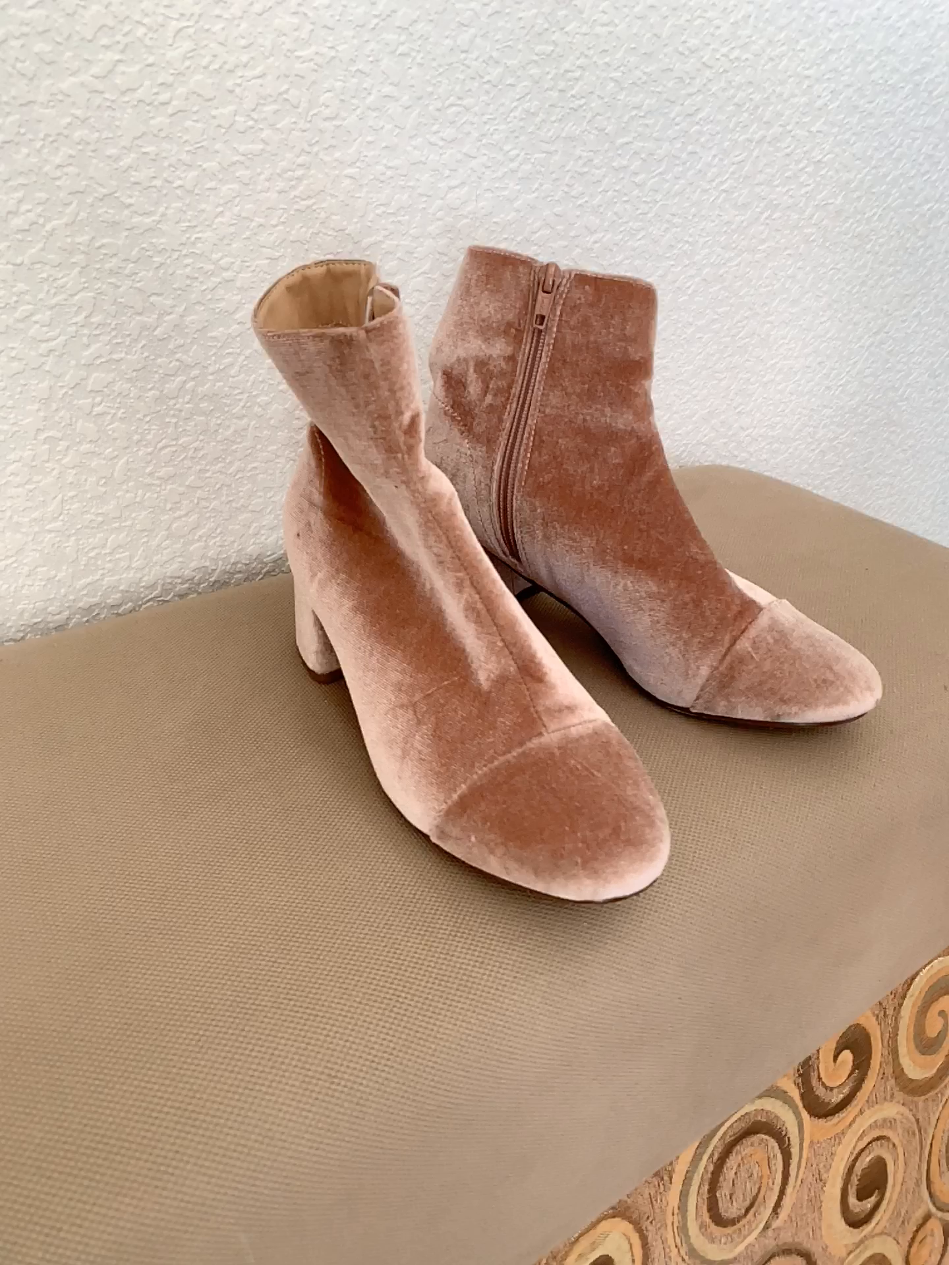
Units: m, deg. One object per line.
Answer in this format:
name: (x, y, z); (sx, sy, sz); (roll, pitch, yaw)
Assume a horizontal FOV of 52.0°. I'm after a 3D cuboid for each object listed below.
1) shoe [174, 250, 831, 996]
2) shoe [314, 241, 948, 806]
shoe: (-0.013, -0.028, 0.357); (0.100, 0.169, 0.231); (-17, 36, -28)
shoe: (0.063, -0.068, 0.449); (0.271, 0.169, 0.100); (23, 37, 31)
